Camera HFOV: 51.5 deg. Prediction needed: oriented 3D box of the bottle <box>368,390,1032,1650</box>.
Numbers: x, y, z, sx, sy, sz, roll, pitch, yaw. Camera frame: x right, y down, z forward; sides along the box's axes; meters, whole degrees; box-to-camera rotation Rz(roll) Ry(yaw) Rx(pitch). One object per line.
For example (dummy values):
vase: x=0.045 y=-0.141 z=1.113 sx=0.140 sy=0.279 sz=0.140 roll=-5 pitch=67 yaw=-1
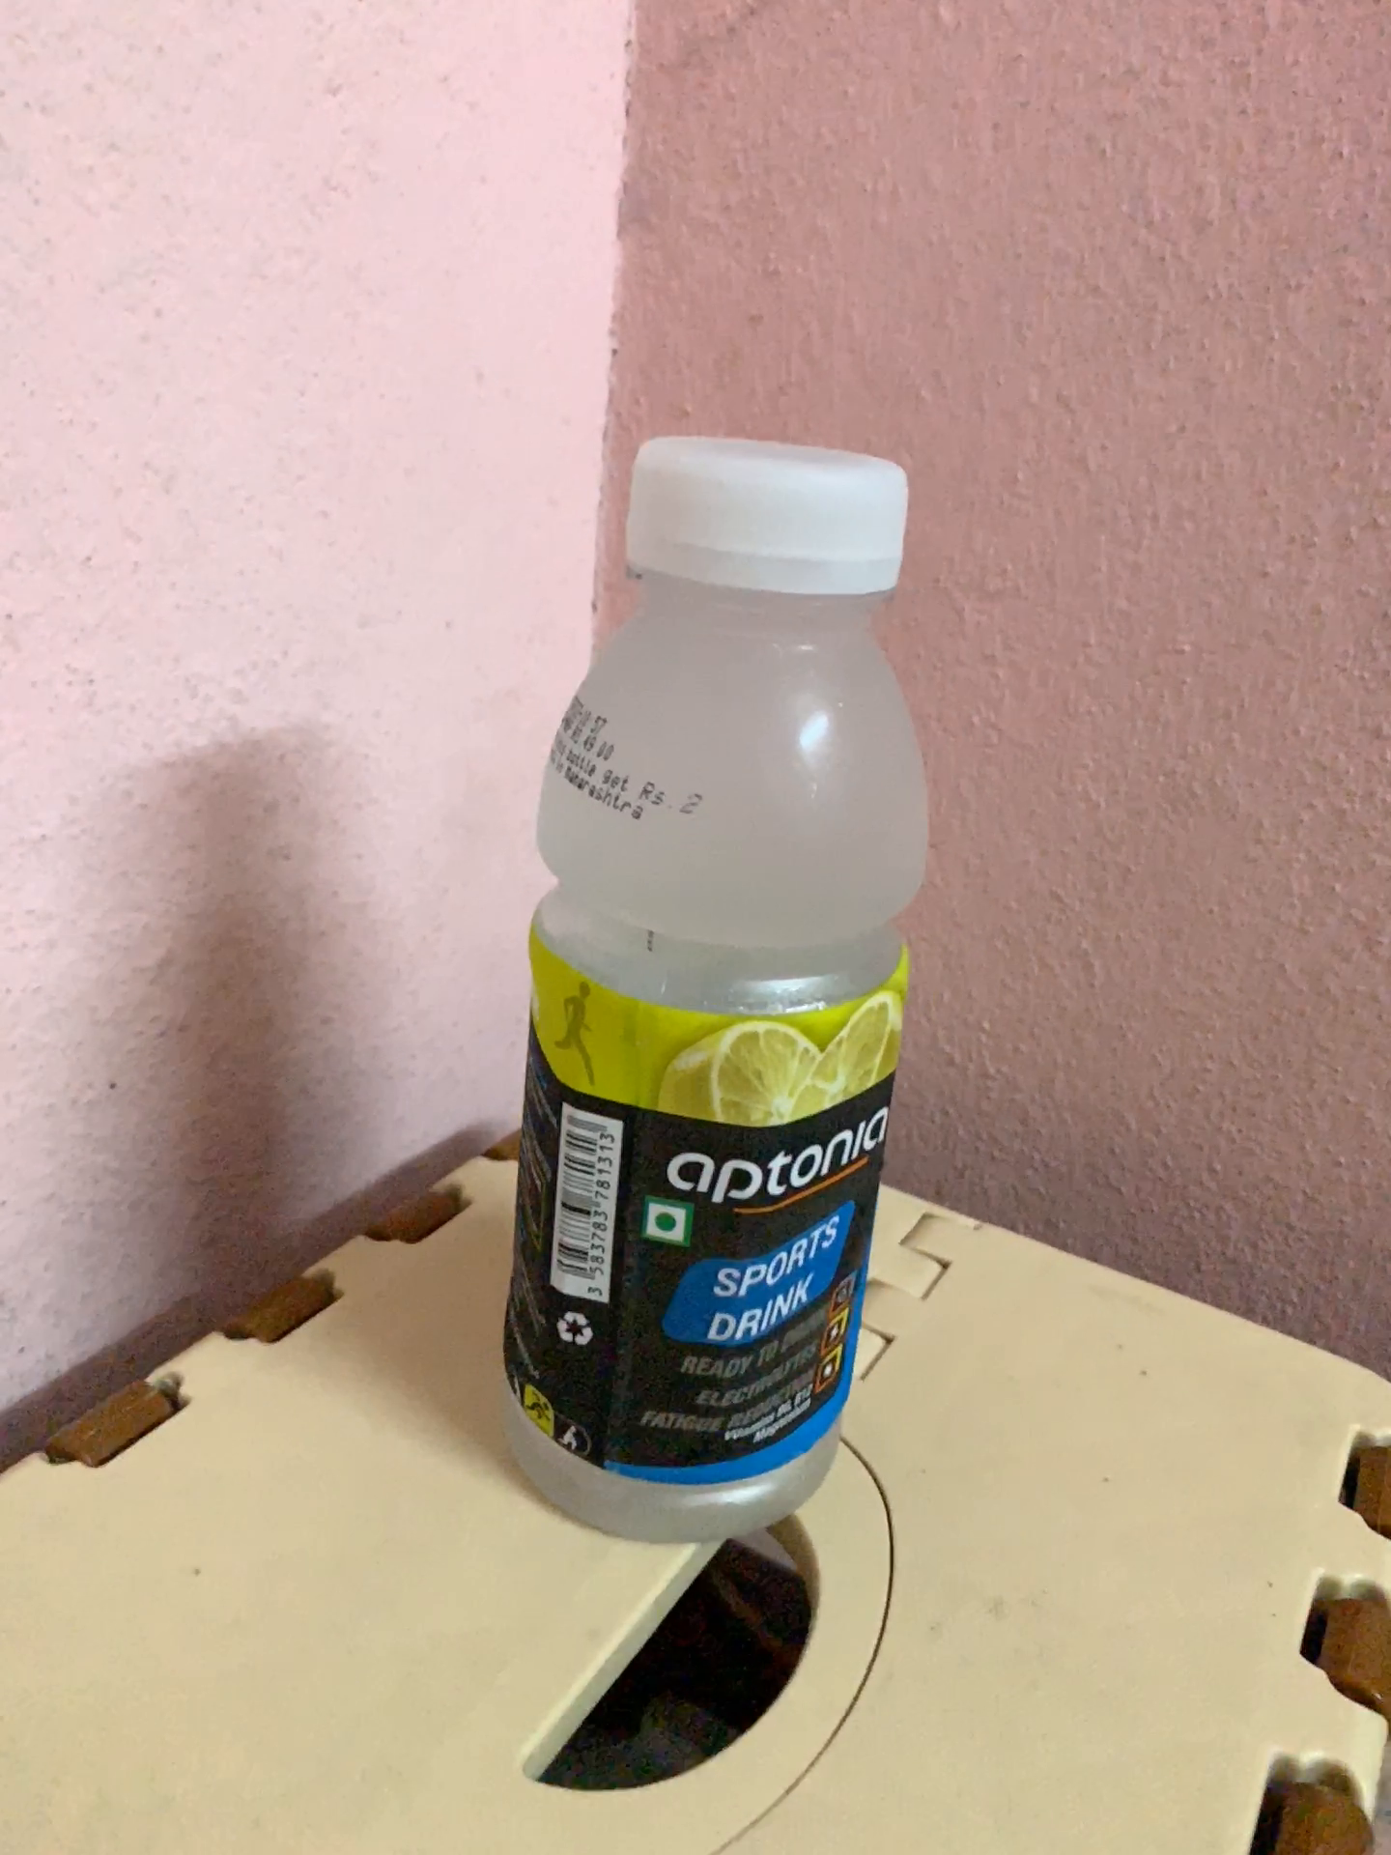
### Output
bottle: x=-0.008 y=0.013 z=0.232 sx=0.070 sy=0.179 sz=0.060 roll=-9 pitch=26 yaw=-31
